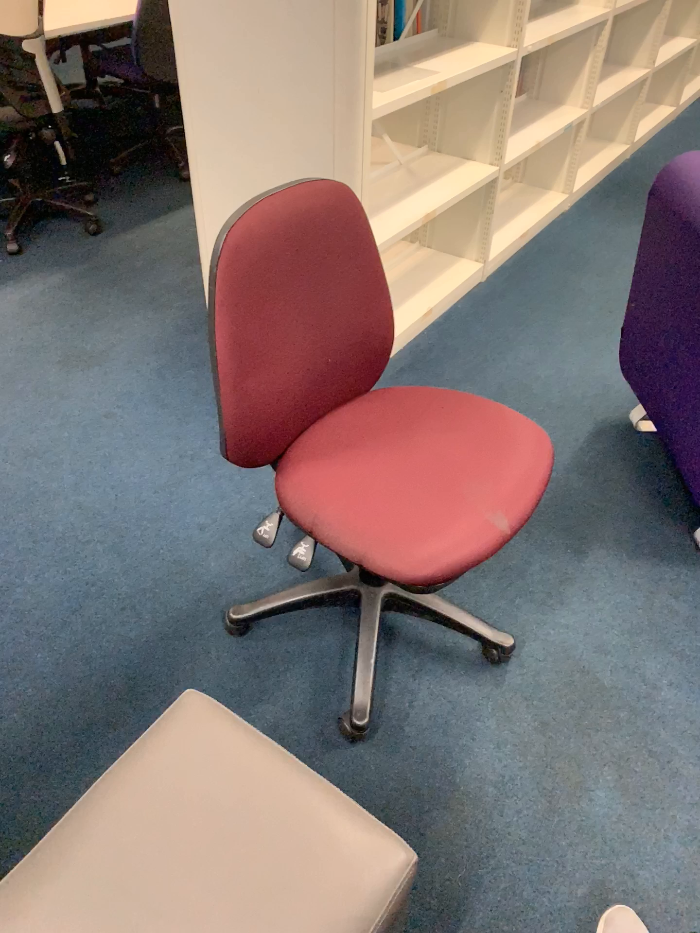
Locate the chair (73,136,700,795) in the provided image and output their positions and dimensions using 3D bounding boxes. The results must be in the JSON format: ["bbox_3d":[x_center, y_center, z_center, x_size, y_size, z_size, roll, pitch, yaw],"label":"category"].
[{"bbox_3d":[0.064,-0.046,1.318,0.693,0.782,0.654,30,48,28],"label":"chair"}]
